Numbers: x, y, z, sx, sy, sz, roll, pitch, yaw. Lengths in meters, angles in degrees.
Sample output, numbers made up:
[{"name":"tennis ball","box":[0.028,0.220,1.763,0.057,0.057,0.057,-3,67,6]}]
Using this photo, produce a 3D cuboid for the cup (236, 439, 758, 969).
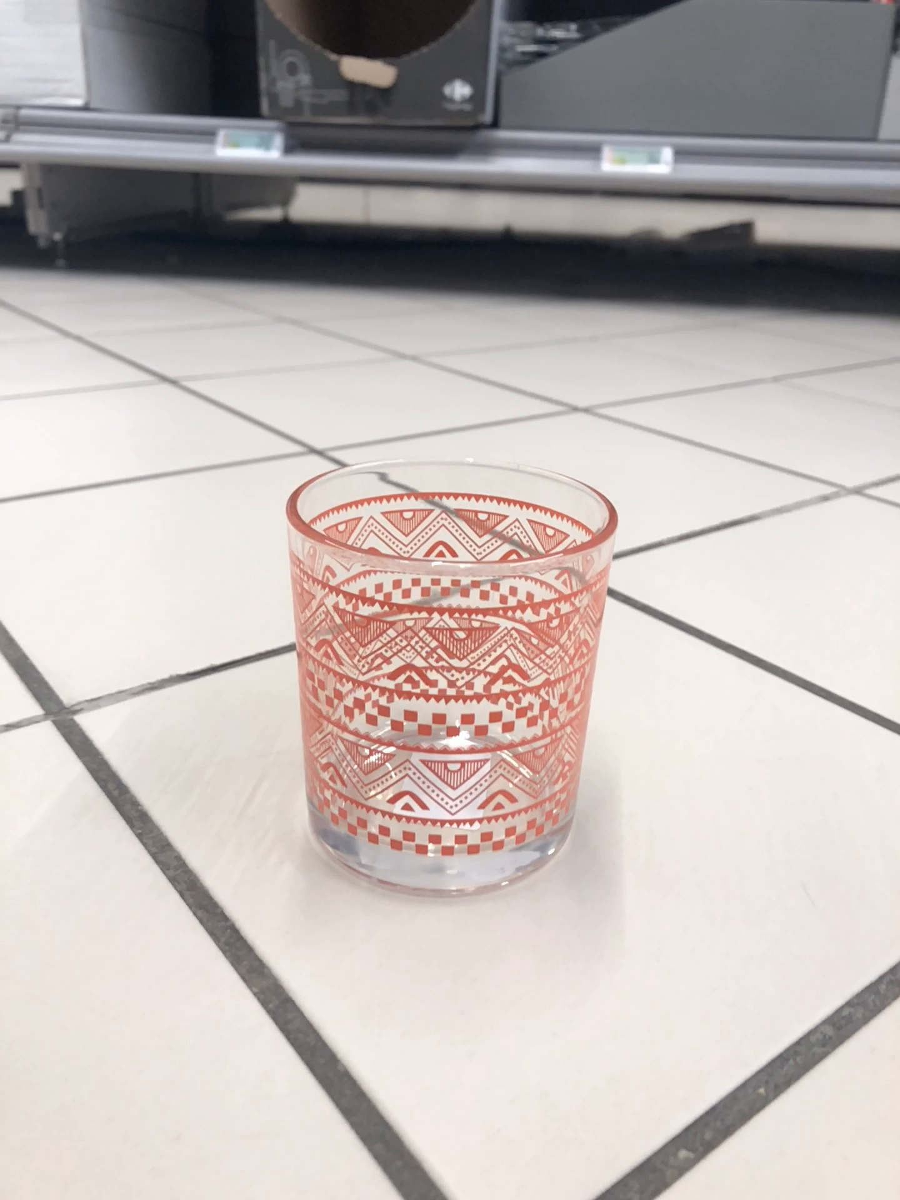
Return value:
[{"name":"cup","box":[0.007,0.015,0.234,0.084,0.078,0.078,2,24,-1]}]
